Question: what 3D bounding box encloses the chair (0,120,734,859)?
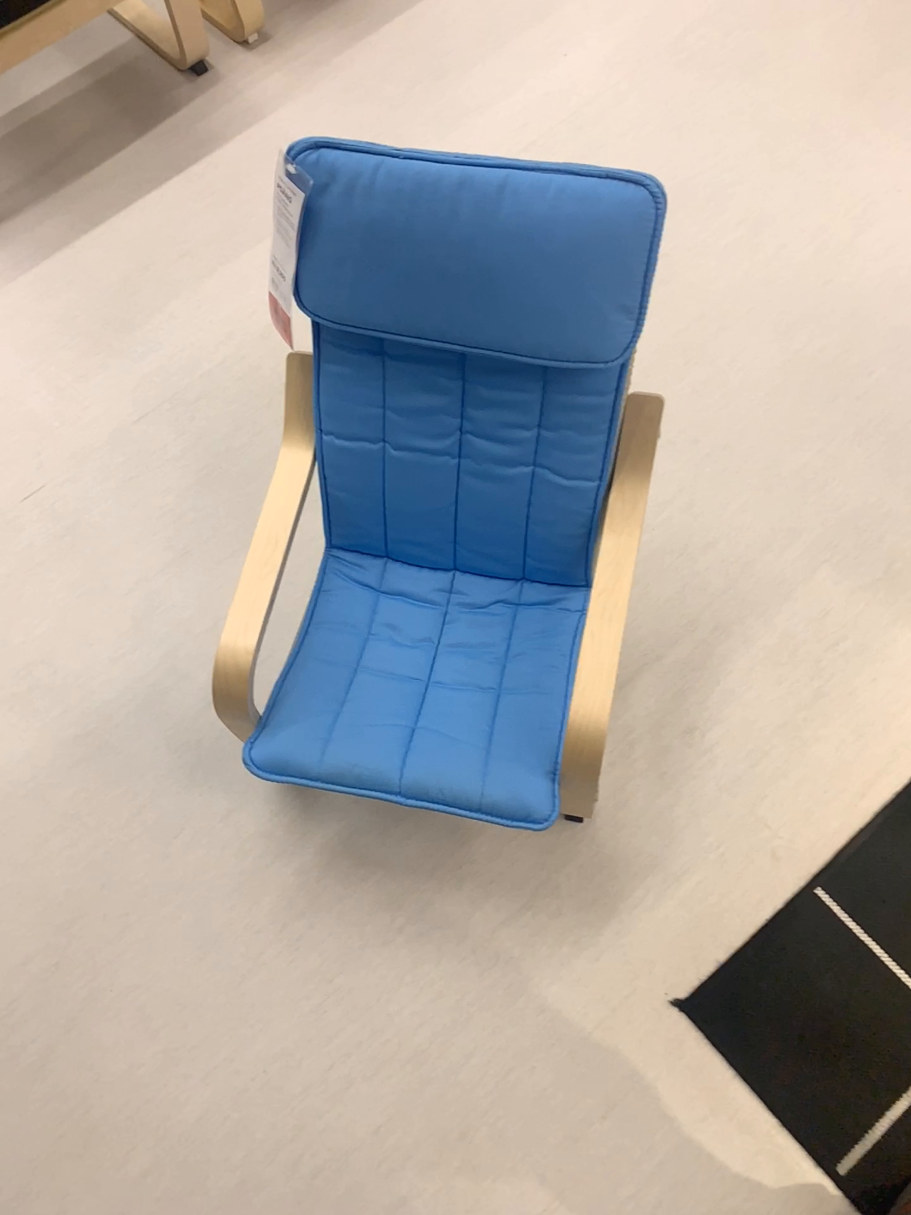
[{"bbox_3d":[-0.033,-0.072,1.046,0.510,0.639,0.500,10,67,9],"label":"chair"}]
